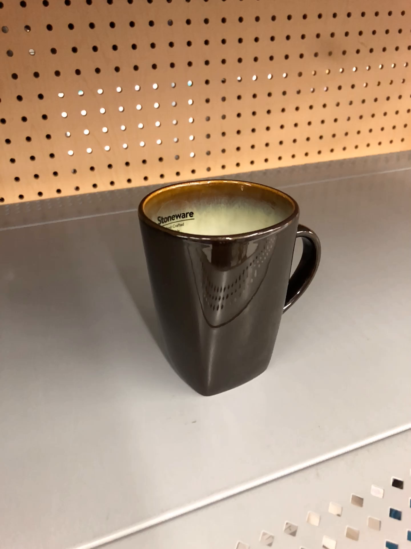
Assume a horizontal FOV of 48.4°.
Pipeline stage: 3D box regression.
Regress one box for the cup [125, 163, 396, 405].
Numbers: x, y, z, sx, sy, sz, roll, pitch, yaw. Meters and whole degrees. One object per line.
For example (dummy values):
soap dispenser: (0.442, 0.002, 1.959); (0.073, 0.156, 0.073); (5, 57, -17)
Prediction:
cup: (0.031, -0.005, 0.302); (0.136, 0.099, 0.095); (-15, 32, -28)
